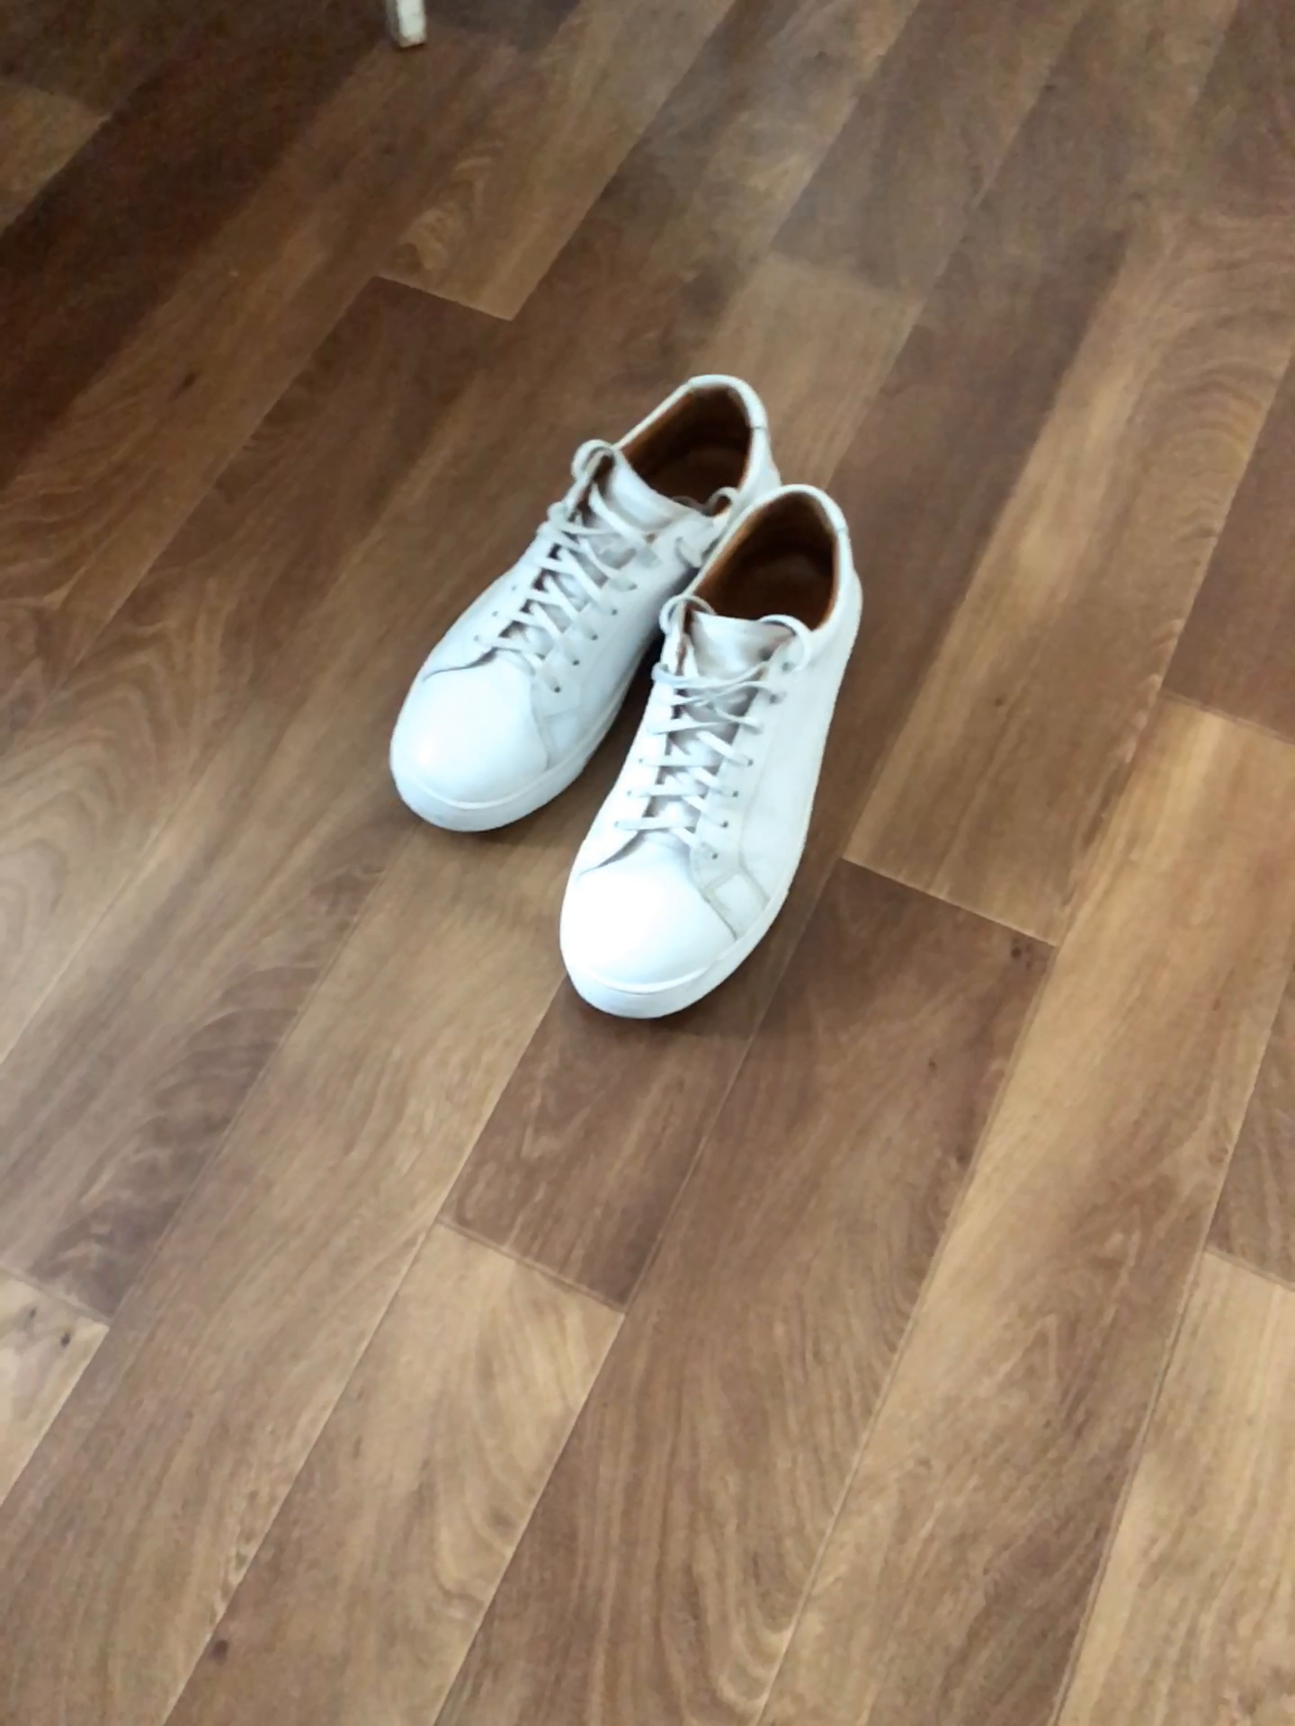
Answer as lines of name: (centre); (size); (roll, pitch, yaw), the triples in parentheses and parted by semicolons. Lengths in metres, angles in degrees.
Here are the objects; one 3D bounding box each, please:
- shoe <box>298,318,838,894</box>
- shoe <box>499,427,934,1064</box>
shoe: (-0.032, -0.135, 0.726); (0.110, 0.090, 0.281); (35, 71, 15)
shoe: (0.039, -0.062, 0.686); (0.110, 0.090, 0.281); (19, 67, 9)
